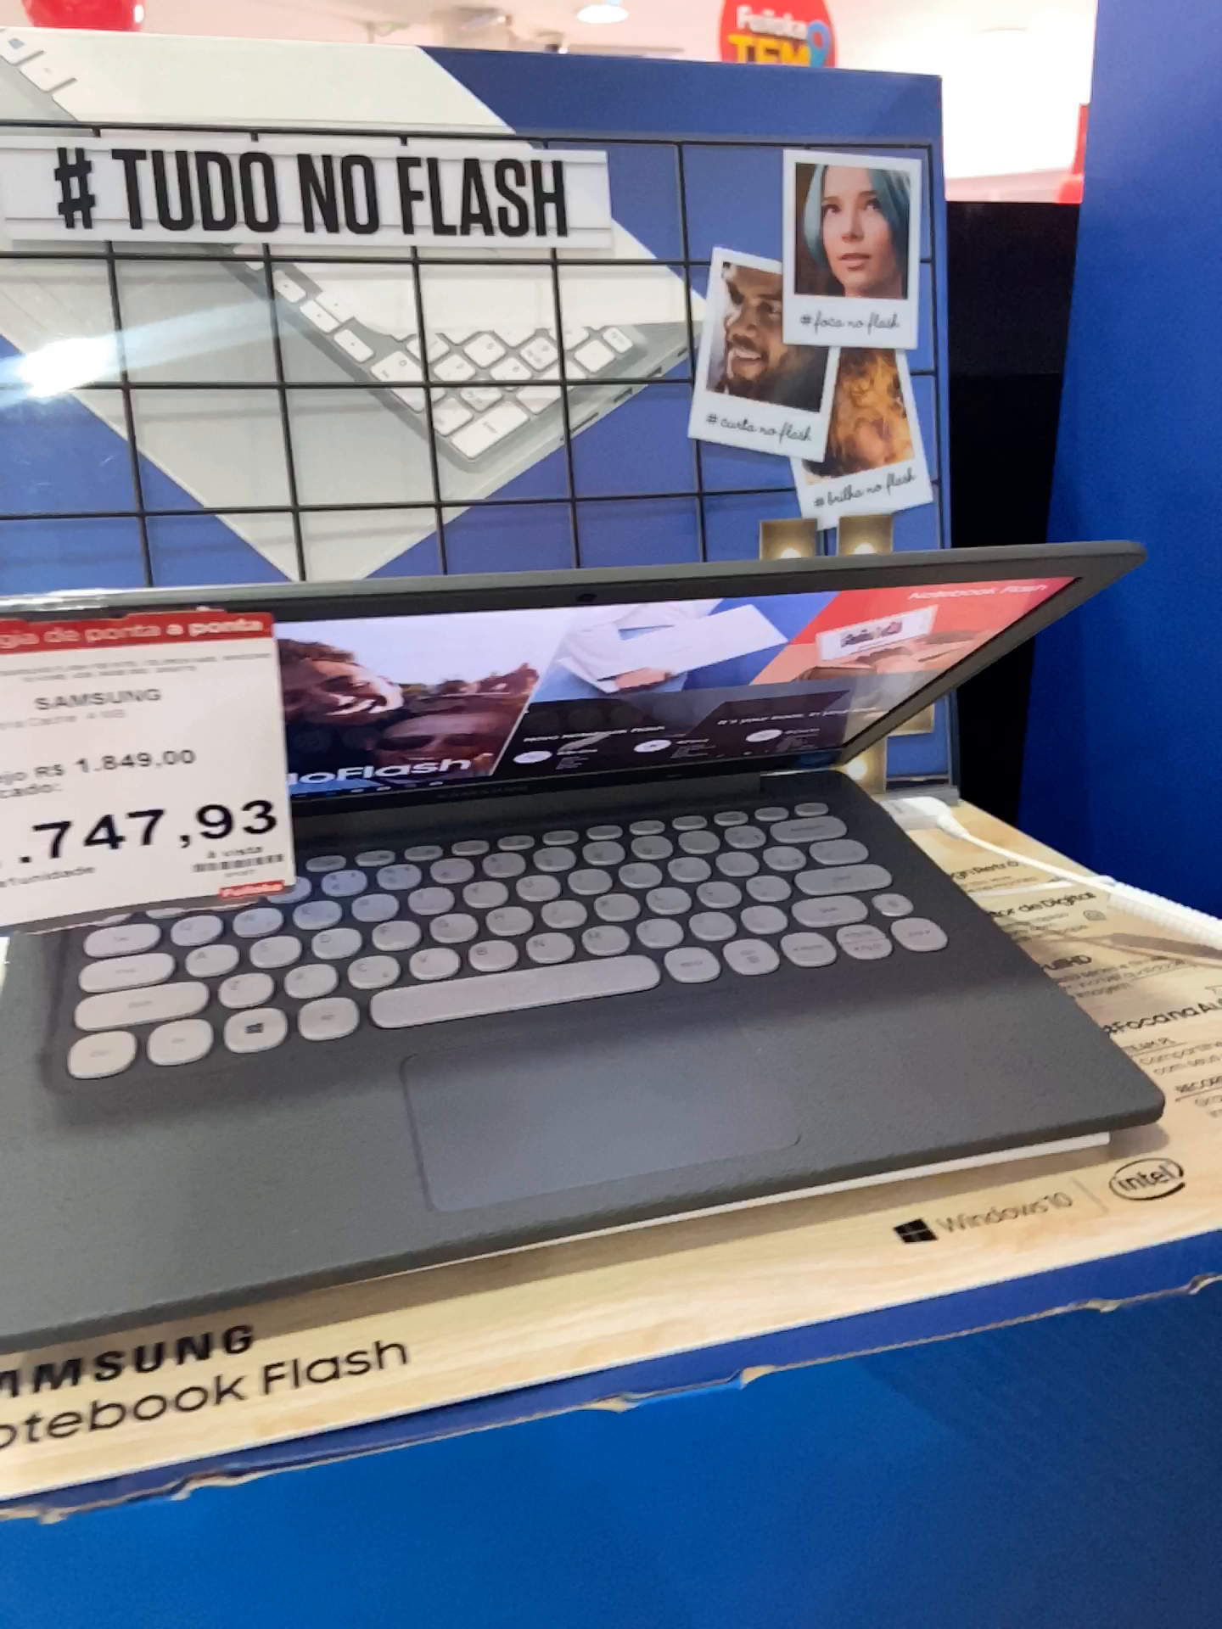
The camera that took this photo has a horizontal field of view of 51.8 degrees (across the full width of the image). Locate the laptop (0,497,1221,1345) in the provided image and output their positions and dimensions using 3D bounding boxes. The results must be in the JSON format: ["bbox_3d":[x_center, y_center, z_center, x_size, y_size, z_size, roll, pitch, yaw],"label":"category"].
[{"bbox_3d":[-0.025,-0.005,0.390,0.323,0.114,0.211,-7,28,-15],"label":"laptop"}]
